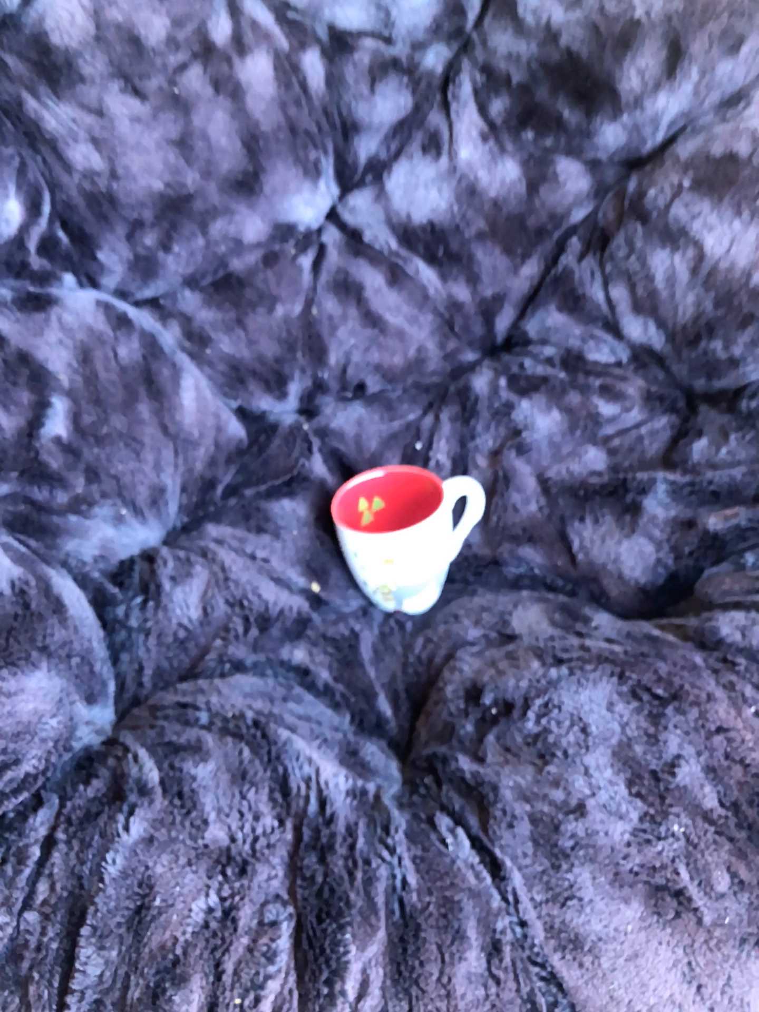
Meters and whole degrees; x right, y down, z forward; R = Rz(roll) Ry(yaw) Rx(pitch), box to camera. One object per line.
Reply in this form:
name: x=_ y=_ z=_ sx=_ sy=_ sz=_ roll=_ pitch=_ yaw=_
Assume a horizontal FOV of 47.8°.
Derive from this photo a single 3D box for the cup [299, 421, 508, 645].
cup: x=0.024 y=0.020 z=0.749 sx=0.140 sy=0.110 sz=0.100 roll=-30 pitch=44 yaw=-23
